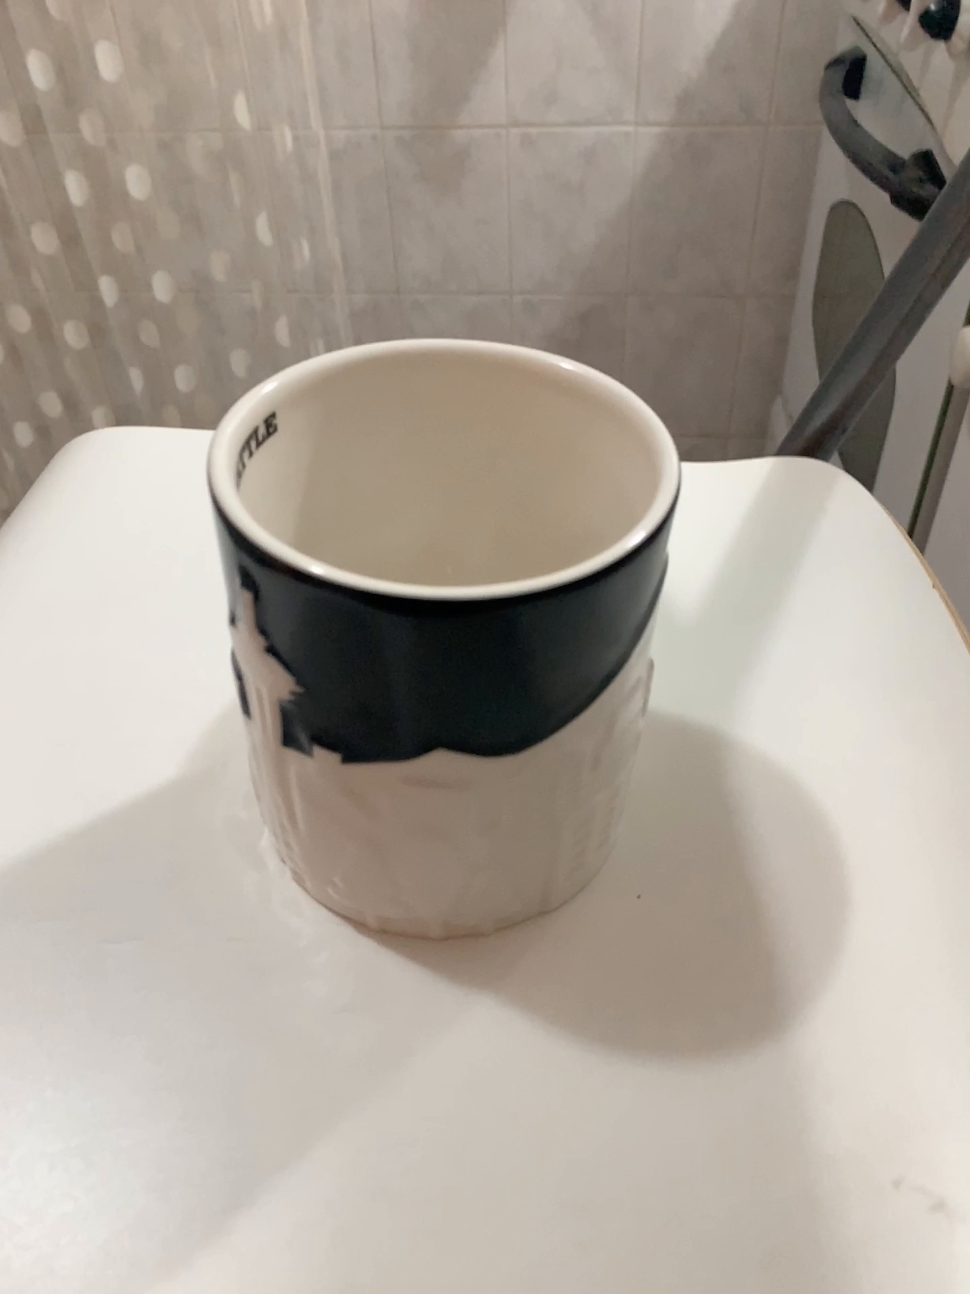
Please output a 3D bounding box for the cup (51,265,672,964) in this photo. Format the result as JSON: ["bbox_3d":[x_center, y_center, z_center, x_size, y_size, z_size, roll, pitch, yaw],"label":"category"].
[{"bbox_3d":[-0.010,-0.017,0.248,0.104,0.100,0.144,3,42,7],"label":"cup"}]
